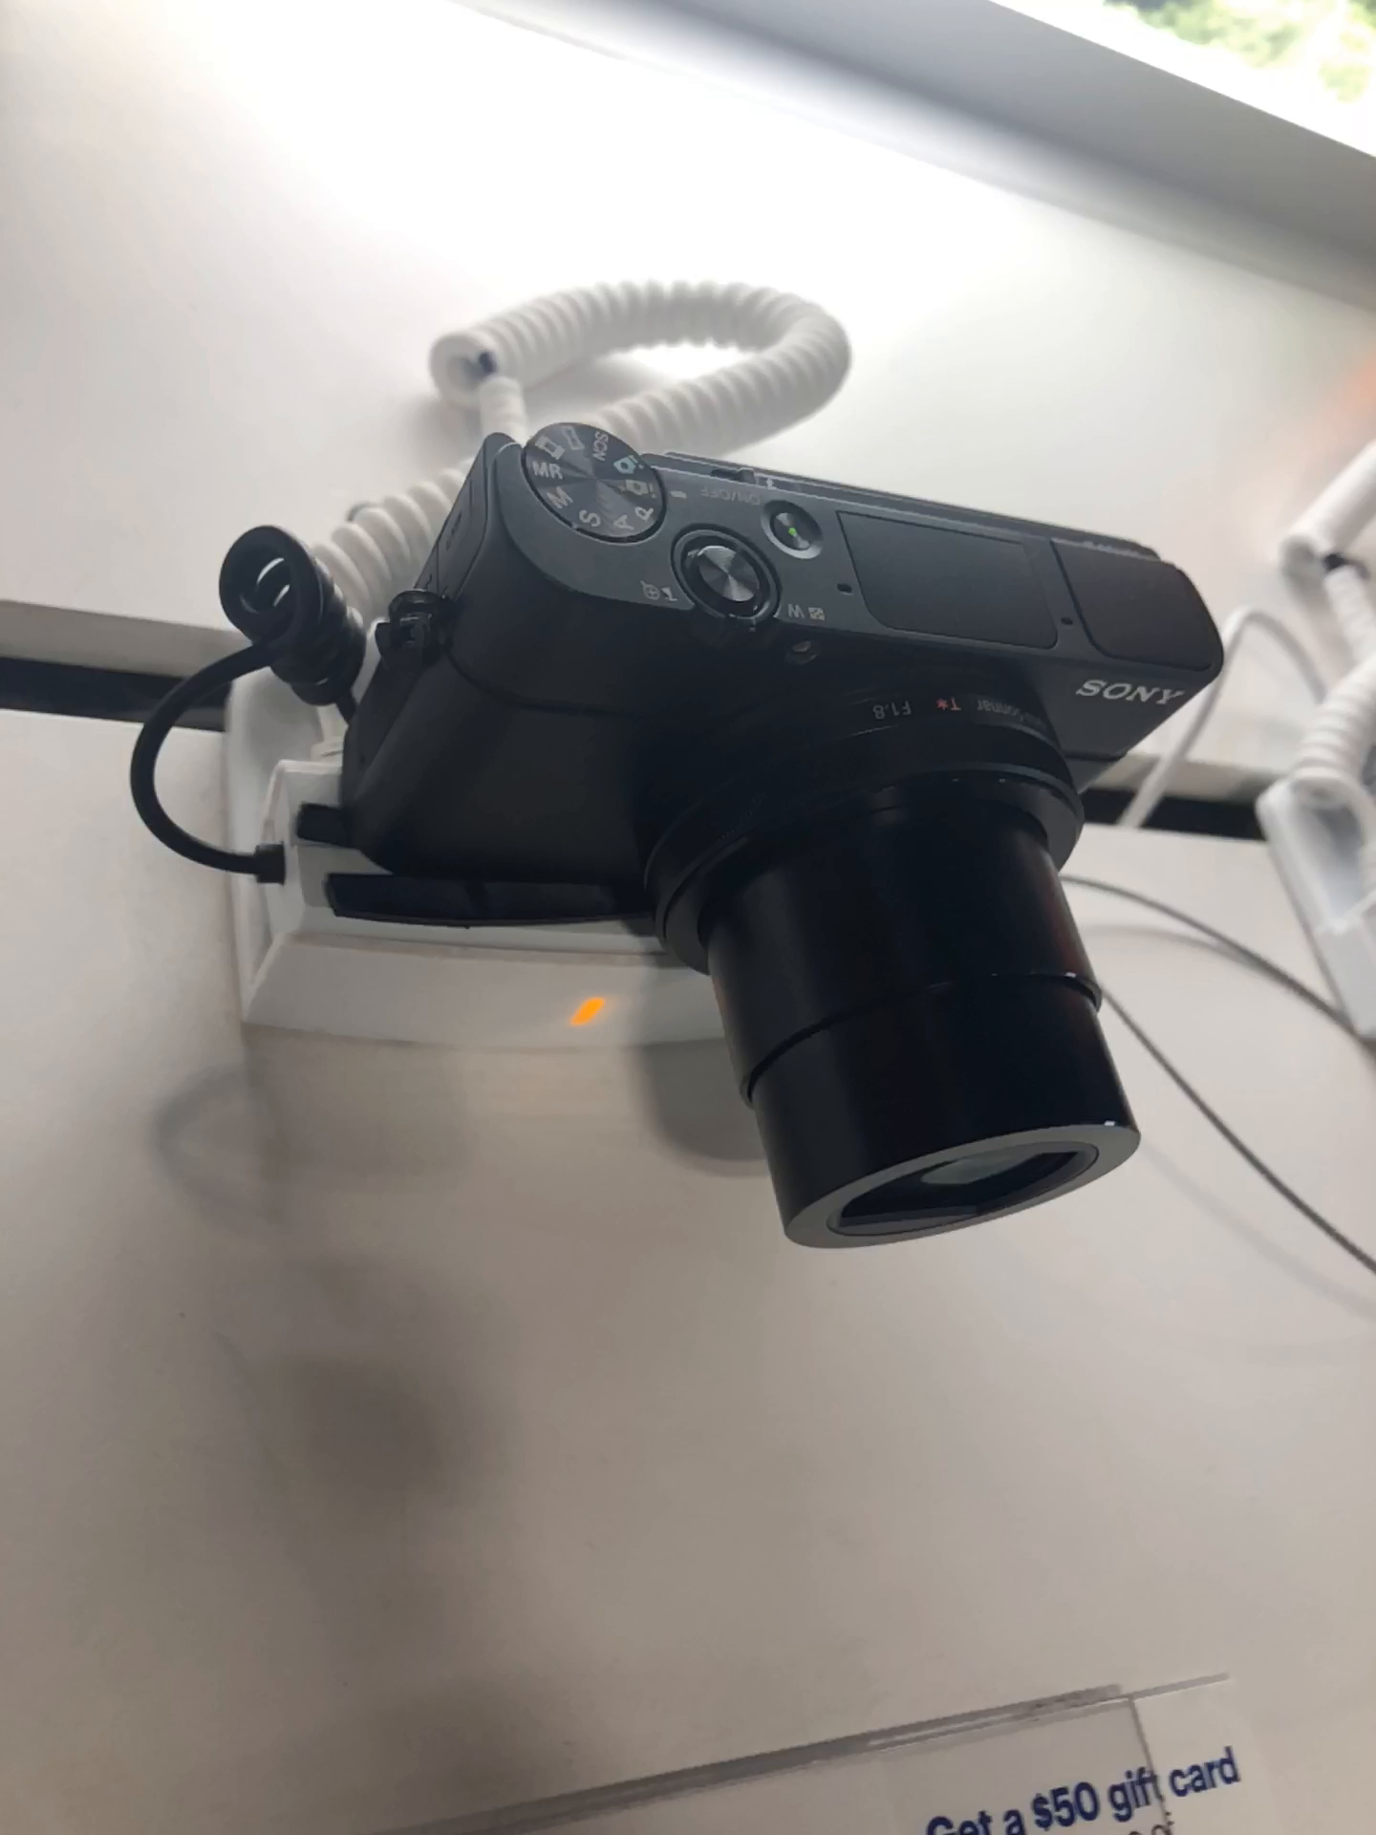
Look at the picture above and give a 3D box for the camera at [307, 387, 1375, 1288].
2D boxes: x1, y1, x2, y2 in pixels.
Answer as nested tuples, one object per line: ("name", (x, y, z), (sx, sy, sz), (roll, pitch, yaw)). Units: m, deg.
("camera", (0.015, -0.003, 0.193), (0.105, 0.074, 0.070), (3, 57, -26))
